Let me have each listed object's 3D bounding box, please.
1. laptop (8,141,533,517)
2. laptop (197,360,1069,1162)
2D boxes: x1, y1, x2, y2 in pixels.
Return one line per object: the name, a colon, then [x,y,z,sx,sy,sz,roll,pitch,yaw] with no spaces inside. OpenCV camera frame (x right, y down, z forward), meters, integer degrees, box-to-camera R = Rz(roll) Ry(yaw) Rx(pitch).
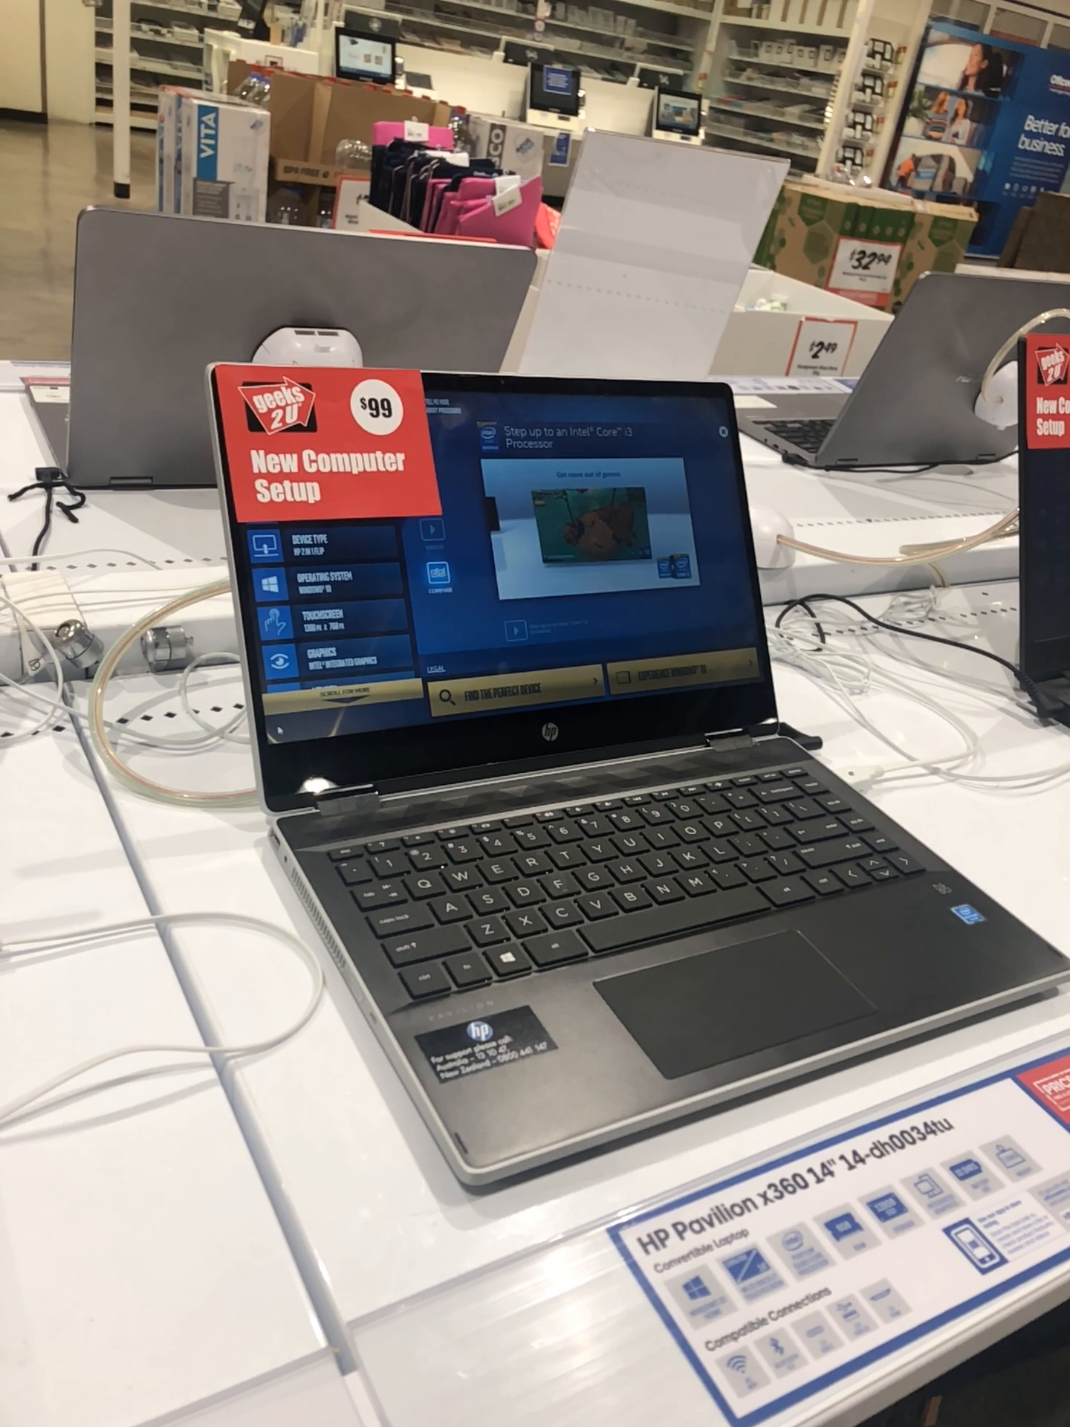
laptop: [-0.236,-0.321,0.971,0.306,0.199,0.358,-7,32,-29]
laptop: [0.049,-0.026,0.554,0.316,0.169,0.340,-7,33,-30]
